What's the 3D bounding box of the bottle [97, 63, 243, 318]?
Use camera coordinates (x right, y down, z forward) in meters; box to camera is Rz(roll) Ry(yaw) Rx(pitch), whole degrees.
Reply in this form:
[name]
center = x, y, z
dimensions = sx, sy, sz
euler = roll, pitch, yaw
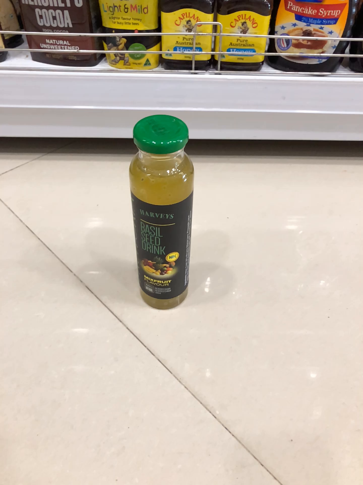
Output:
[bottle]
center = -0.007, -0.033, 0.344
dimensions = 0.080, 0.199, 0.070
euler = 15, 46, 13
